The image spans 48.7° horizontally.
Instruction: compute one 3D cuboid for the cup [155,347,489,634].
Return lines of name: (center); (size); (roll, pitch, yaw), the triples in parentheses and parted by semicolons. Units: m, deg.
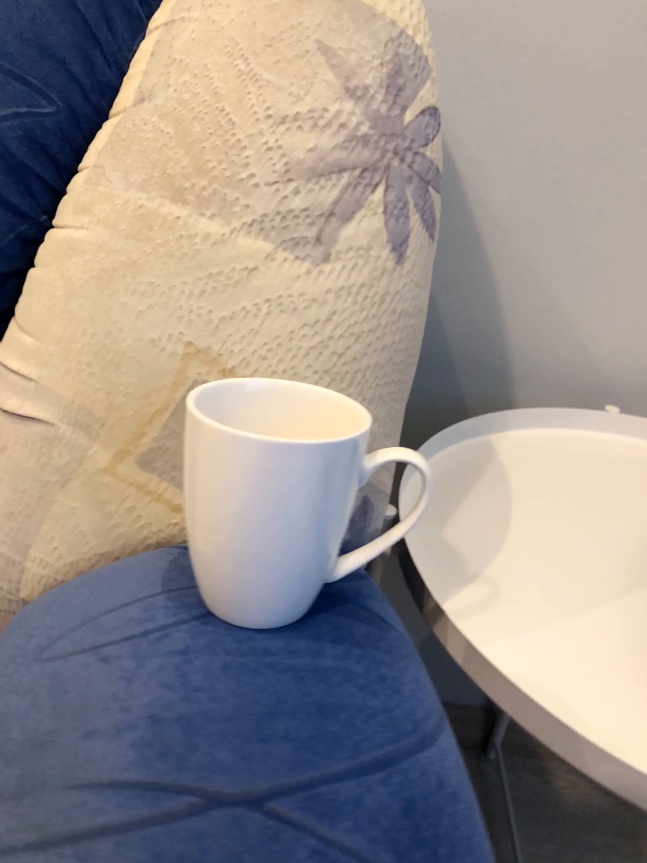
cup: (-0.006, 0.022, 0.290); (0.110, 0.079, 0.080); (4, 25, -9)
